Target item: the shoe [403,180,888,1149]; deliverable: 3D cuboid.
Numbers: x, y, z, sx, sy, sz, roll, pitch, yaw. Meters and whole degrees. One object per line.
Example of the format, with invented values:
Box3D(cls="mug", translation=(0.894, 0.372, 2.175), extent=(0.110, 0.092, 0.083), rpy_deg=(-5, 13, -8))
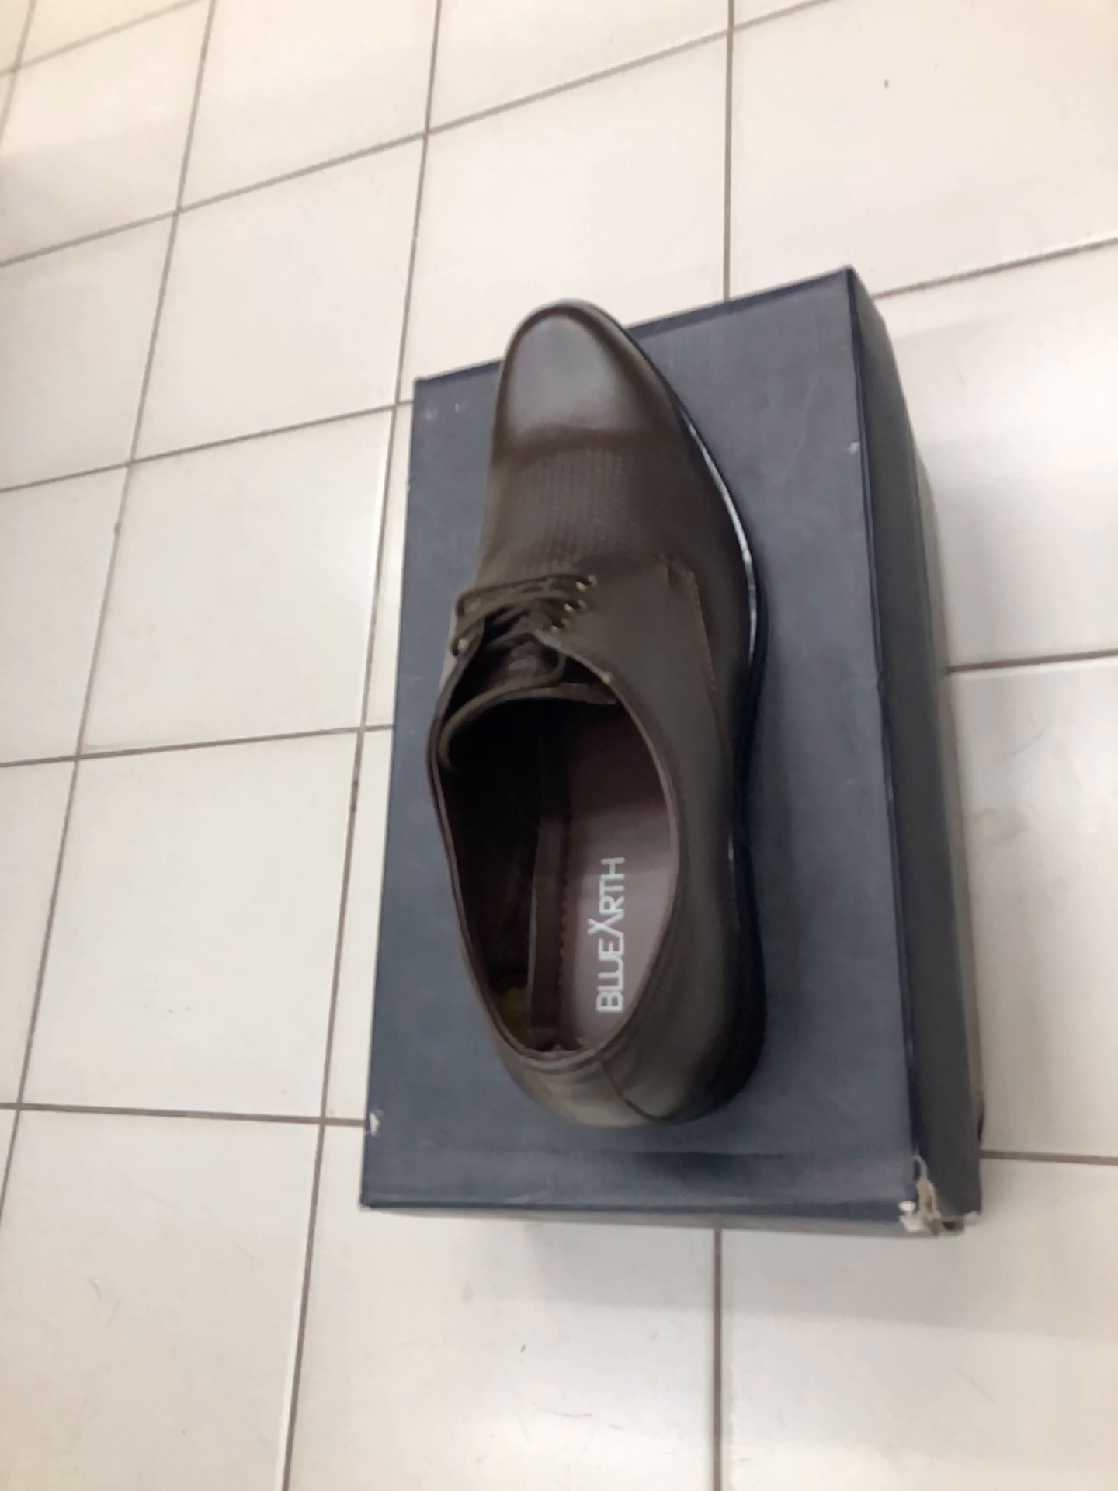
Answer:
Box3D(cls="shoe", translation=(0.025, -0.022, 0.410), extent=(0.104, 0.109, 0.291), rpy_deg=(-13, 68, 21))
